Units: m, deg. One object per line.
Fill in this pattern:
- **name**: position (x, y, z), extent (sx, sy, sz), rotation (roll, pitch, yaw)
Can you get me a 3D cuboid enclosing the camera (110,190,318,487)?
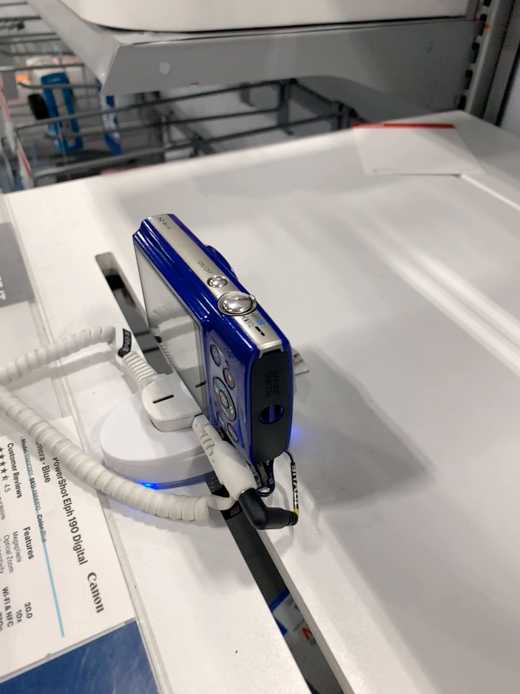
- **camera**: position (-0.020, -0.007, 0.203), extent (0.027, 0.060, 0.100), rotation (-24, 48, -21)
